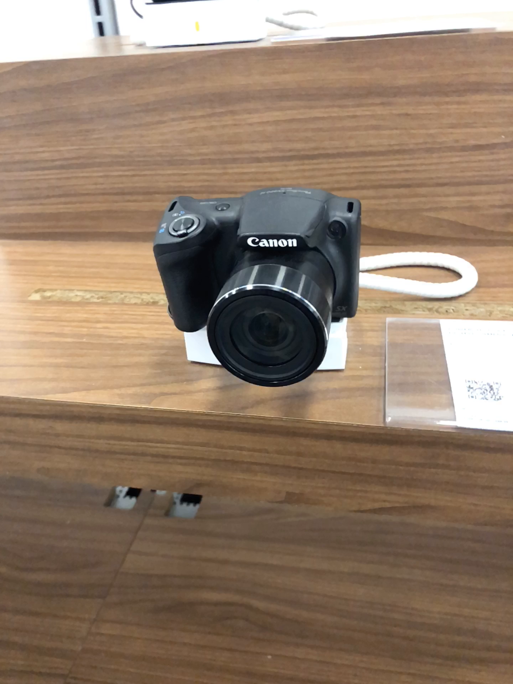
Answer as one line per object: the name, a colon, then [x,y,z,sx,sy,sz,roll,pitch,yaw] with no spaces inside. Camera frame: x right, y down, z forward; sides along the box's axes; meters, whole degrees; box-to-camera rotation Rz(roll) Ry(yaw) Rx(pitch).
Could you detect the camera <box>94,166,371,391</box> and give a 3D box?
camera: [0.000,-0.038,0.287,0.110,0.070,0.110,2,30,10]
